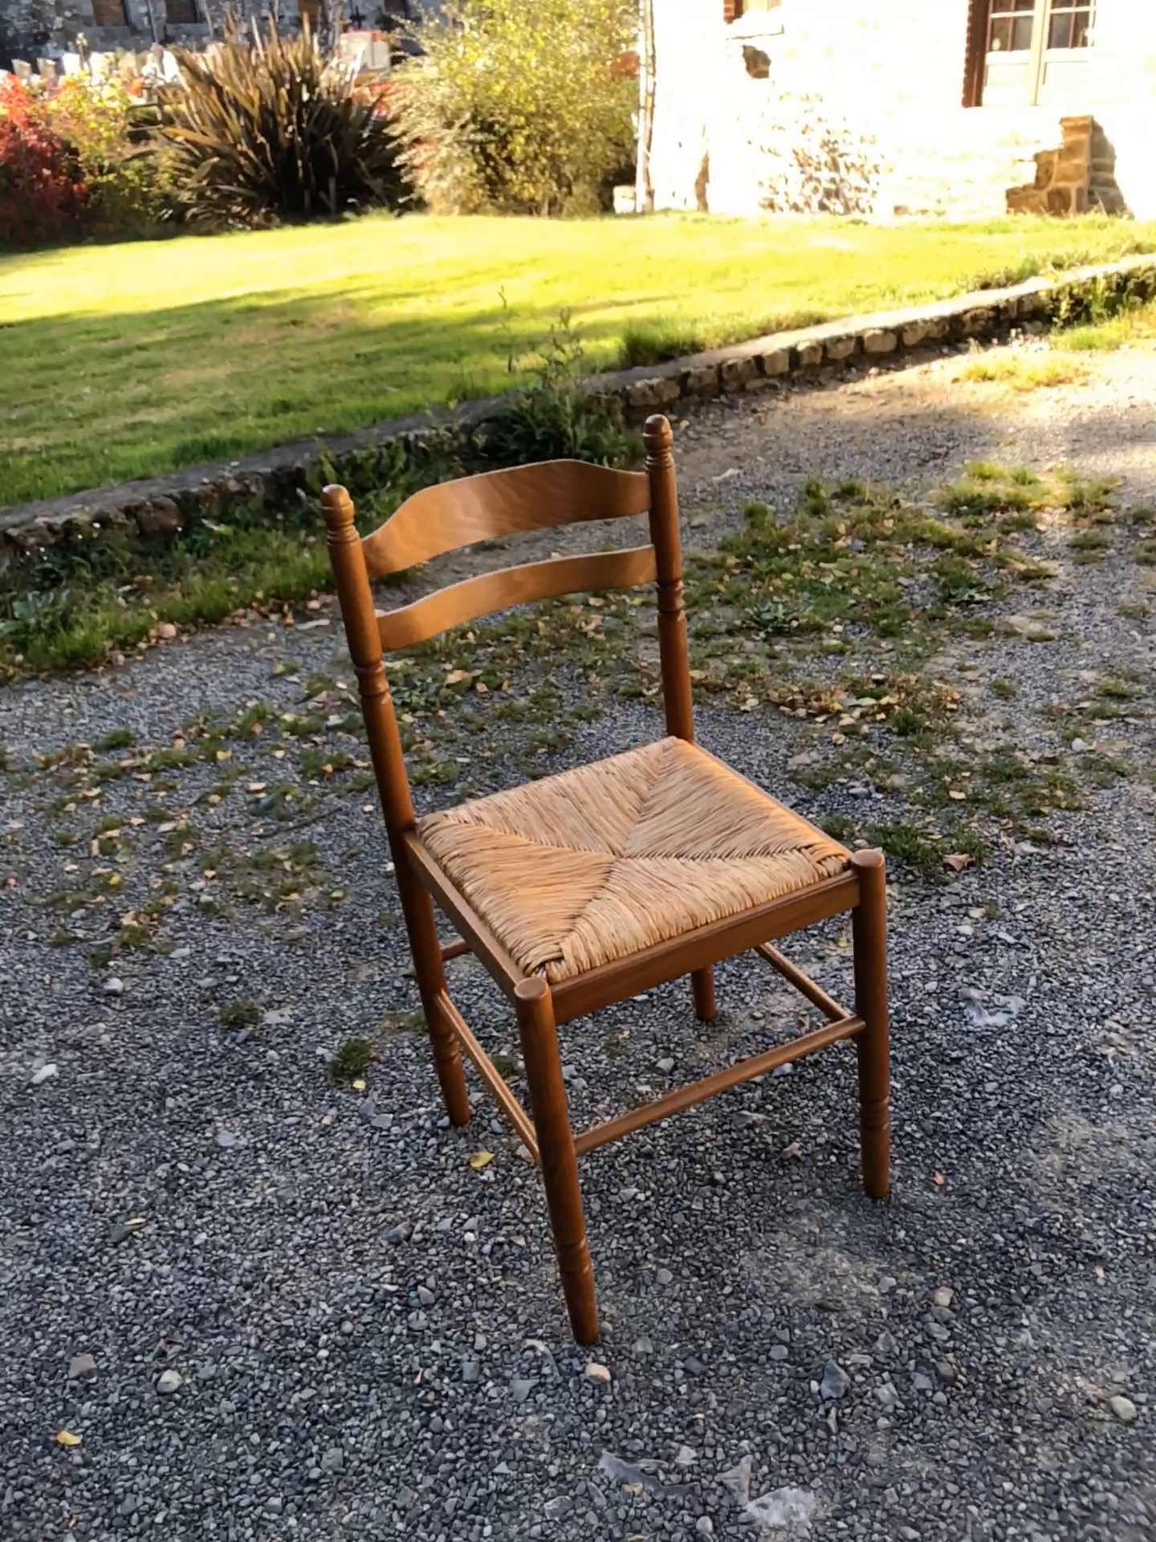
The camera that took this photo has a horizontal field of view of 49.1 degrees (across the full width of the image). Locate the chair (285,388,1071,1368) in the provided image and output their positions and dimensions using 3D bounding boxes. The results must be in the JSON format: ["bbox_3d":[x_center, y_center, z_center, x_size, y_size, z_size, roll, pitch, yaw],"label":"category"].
[{"bbox_3d":[0.079,0.061,1.313,0.512,0.736,0.521,-17,31,-22],"label":"chair"}]
